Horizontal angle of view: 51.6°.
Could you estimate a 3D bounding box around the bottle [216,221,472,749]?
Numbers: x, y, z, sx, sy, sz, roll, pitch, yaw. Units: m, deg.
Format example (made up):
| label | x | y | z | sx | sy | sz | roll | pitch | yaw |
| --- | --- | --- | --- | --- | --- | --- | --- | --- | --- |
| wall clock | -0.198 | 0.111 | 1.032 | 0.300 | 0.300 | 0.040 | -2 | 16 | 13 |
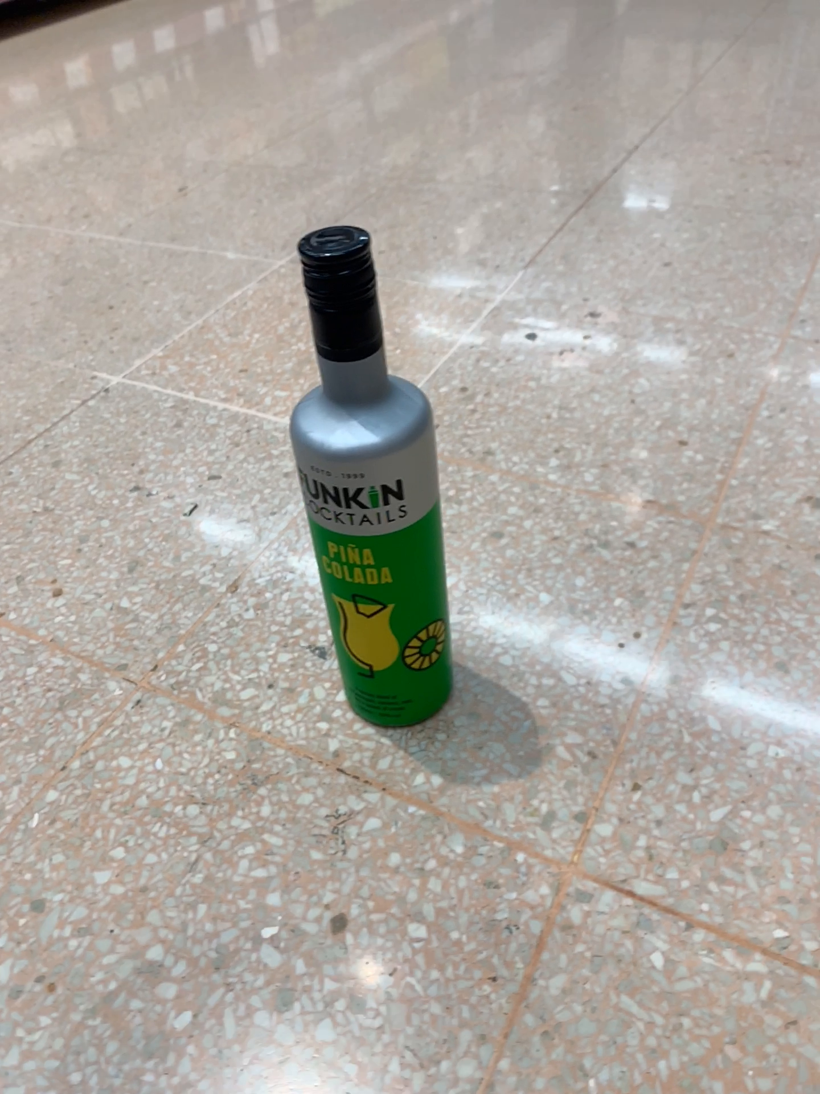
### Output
| label | x | y | z | sx | sy | sz | roll | pitch | yaw |
| --- | --- | --- | --- | --- | --- | --- | --- | --- | --- |
| bottle | -0.020 | -0.015 | 0.450 | 0.074 | 0.284 | 0.067 | -4 | 41 | 3 |
